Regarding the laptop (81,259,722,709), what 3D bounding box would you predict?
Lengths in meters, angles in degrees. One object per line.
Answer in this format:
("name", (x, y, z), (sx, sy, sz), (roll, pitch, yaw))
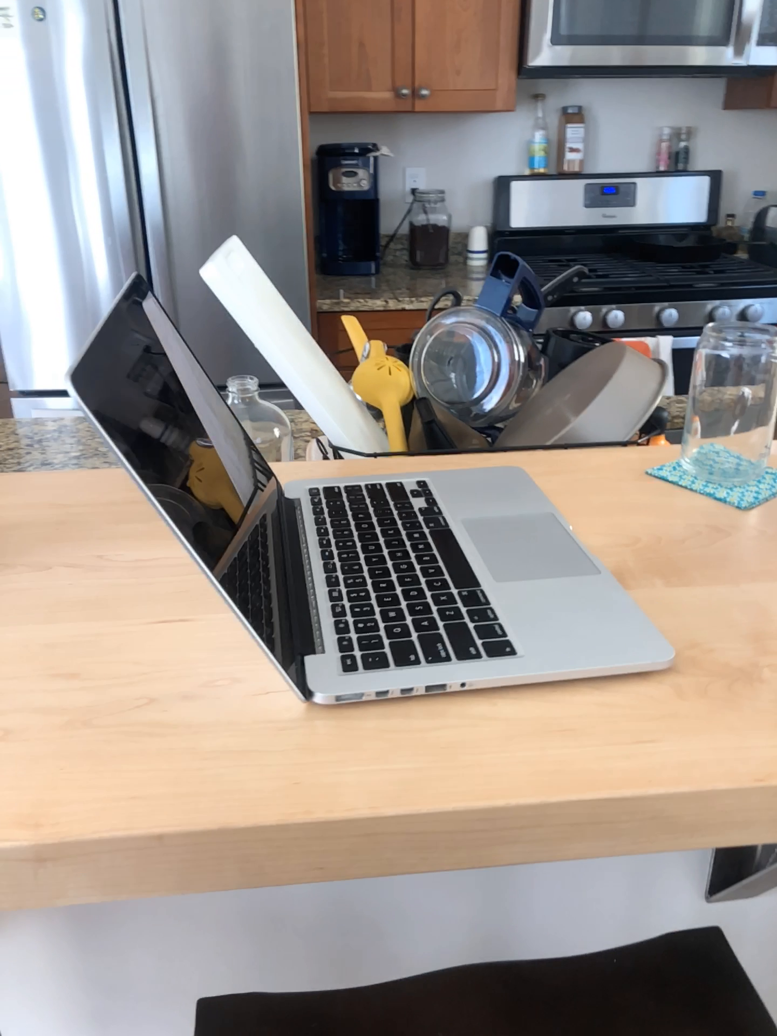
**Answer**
("laptop", (-0.010, -0.058, 0.606), (0.323, 0.188, 0.324), (-4, 25, -7))
